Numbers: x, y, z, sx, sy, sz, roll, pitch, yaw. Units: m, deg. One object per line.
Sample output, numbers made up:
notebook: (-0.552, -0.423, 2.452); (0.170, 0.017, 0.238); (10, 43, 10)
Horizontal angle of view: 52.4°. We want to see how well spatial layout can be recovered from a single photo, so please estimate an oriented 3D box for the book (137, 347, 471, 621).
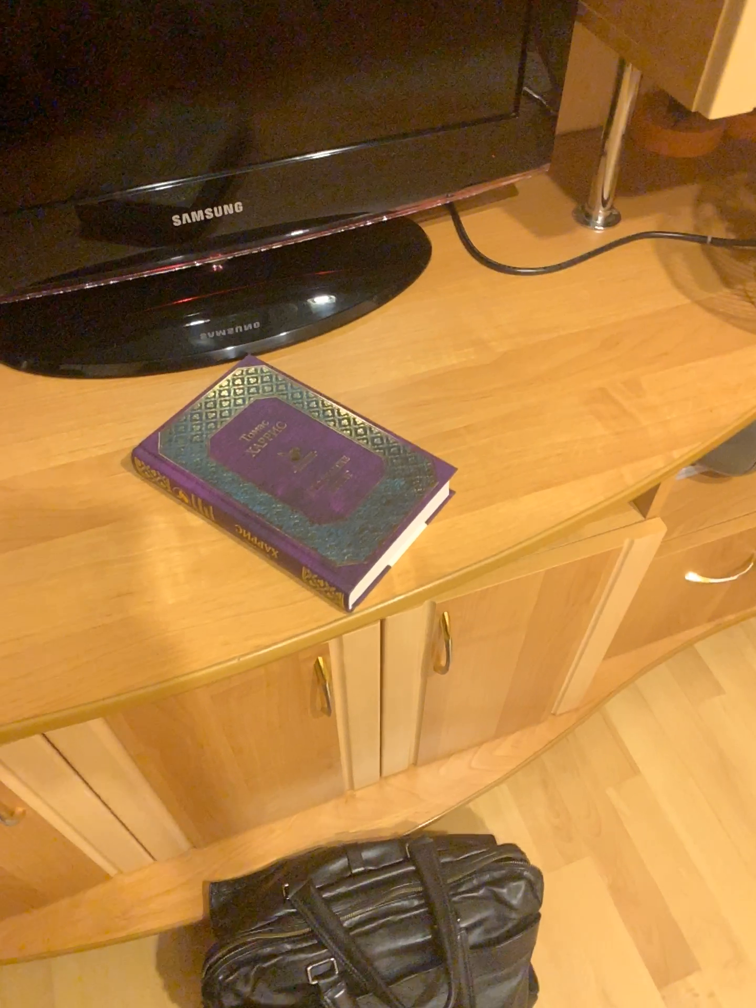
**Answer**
book: (-0.054, -0.024, 0.564); (0.201, 0.040, 0.131); (31, 58, 20)
